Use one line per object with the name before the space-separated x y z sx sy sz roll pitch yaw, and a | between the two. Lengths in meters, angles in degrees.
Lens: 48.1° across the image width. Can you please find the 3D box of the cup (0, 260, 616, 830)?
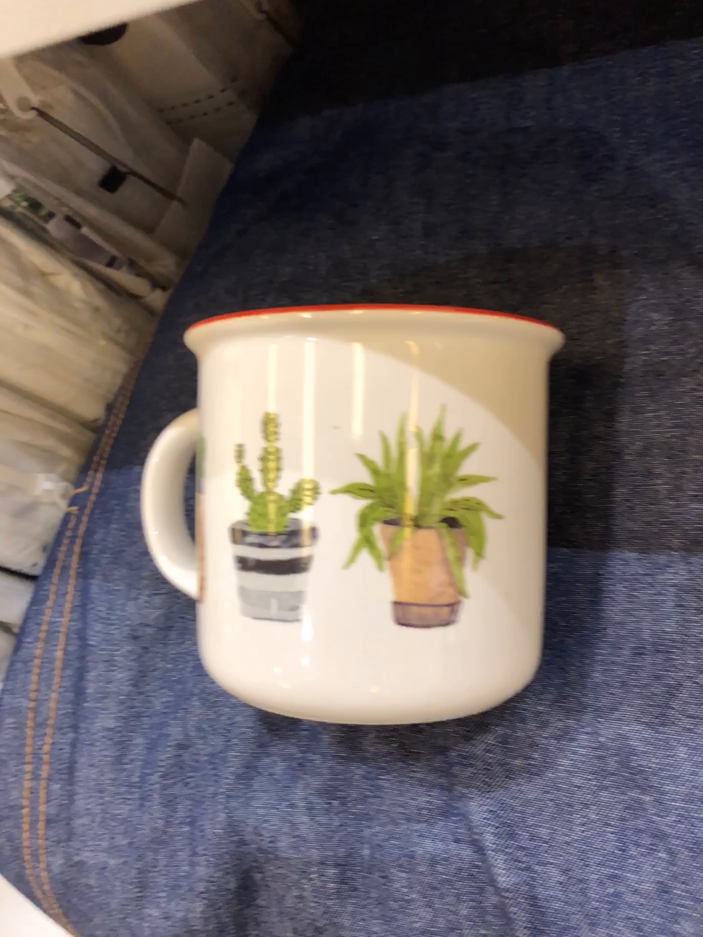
cup | -0.011 0.015 0.212 0.140 0.090 0.100 0 85 29
